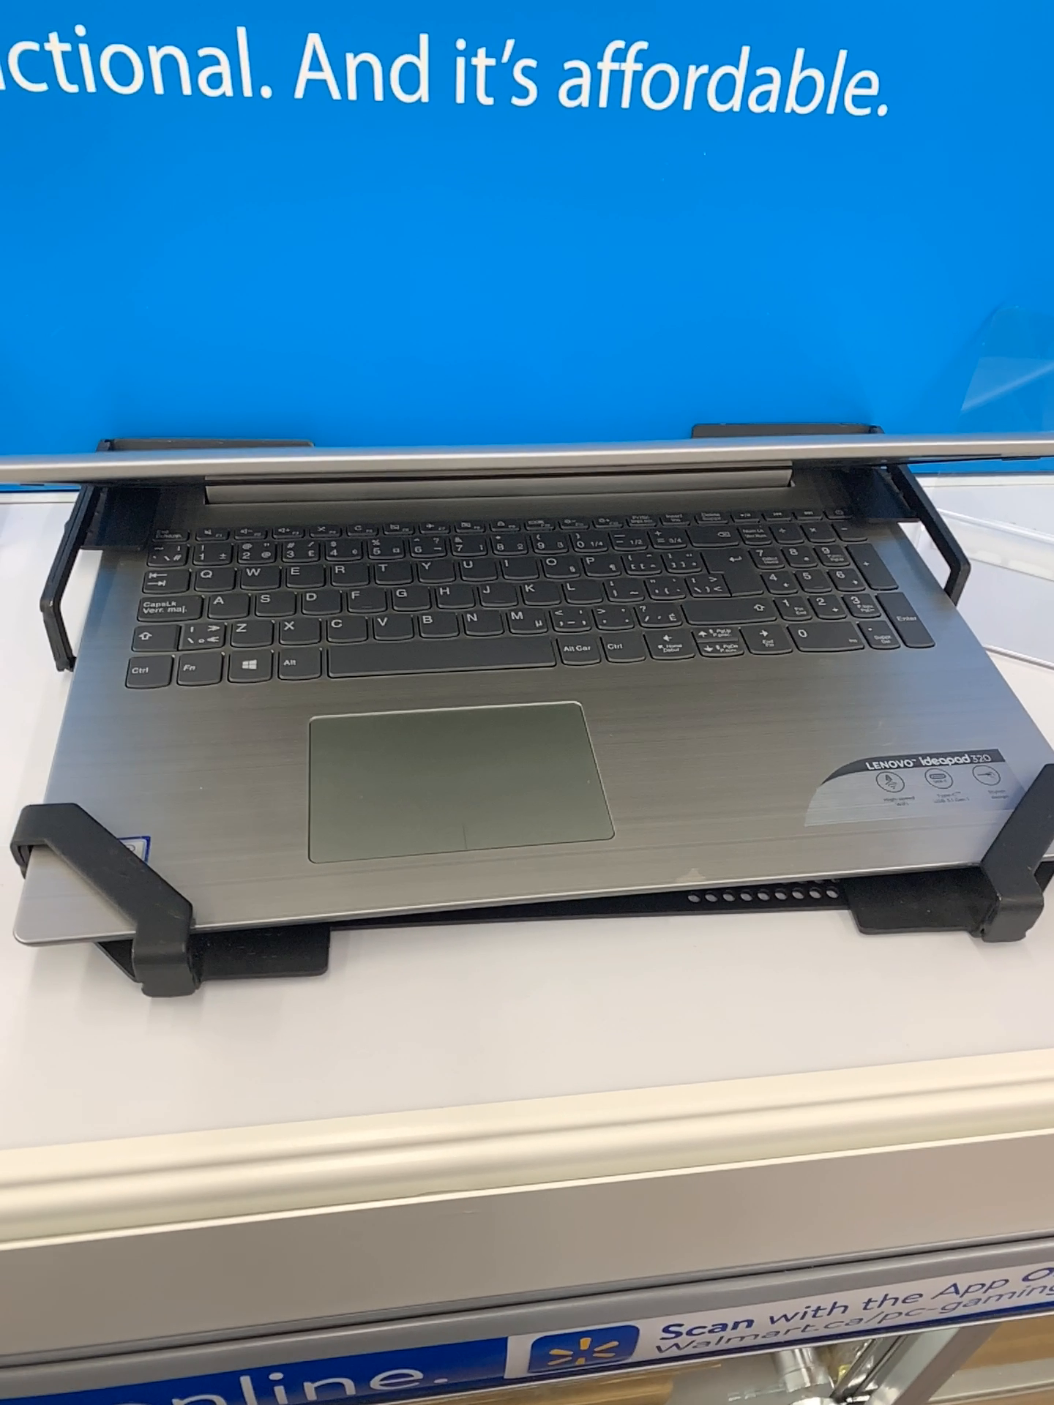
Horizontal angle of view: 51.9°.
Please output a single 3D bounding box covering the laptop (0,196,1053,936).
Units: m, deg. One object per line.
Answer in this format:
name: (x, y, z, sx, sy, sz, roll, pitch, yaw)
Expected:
laptop: (0.011, -0.064, 0.353, 0.324, 0.110, 0.220, -3, 44, -9)
